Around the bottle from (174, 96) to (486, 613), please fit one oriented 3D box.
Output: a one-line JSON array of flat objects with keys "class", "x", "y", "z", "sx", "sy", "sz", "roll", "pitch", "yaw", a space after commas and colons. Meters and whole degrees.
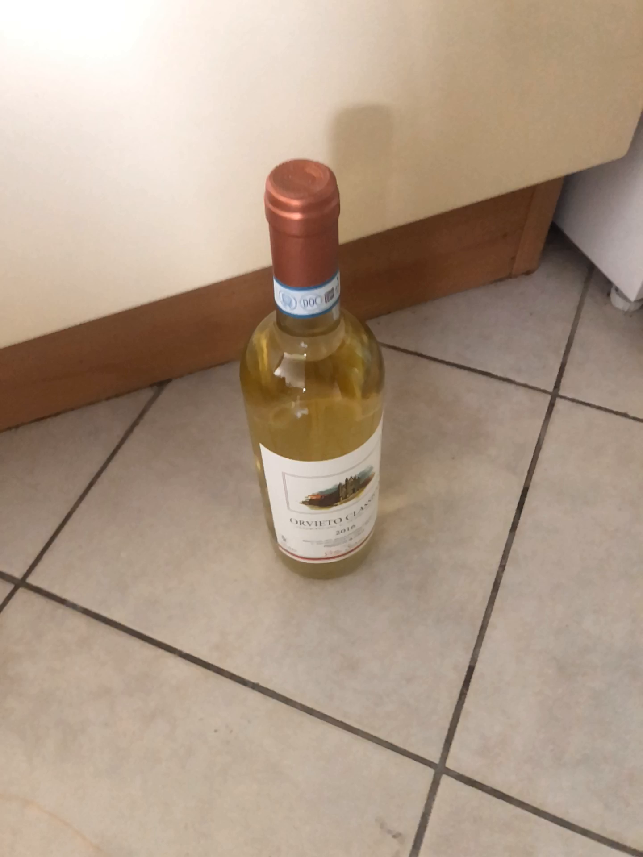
[{"class": "bottle", "x": 0.003, "y": -0.011, "z": 0.389, "sx": 0.090, "sy": 0.288, "sz": 0.090, "roll": -1, "pitch": 54, "yaw": 1}]
